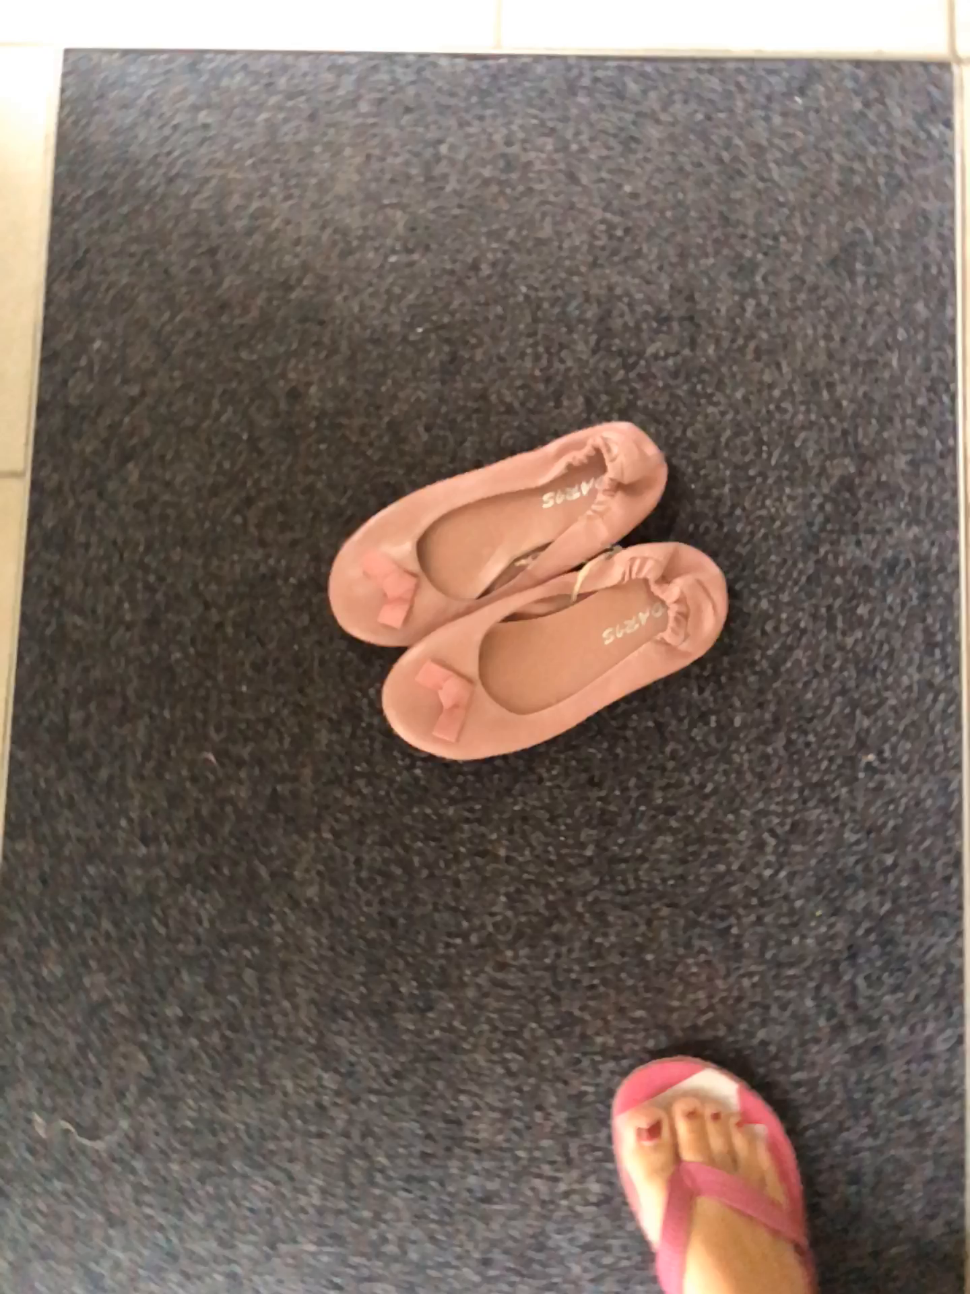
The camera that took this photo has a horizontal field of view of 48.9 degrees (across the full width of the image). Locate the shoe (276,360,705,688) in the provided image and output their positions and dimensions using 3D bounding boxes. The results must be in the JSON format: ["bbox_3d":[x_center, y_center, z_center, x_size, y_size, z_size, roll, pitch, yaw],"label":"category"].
[{"bbox_3d":[0.004,-0.070,0.661,0.230,0.100,0.090,-26,83,-1],"label":"shoe"}]

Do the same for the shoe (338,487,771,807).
[{"bbox_3d":[0.041,0.004,0.658,0.230,0.100,0.090,-26,83,-1],"label":"shoe"}]
